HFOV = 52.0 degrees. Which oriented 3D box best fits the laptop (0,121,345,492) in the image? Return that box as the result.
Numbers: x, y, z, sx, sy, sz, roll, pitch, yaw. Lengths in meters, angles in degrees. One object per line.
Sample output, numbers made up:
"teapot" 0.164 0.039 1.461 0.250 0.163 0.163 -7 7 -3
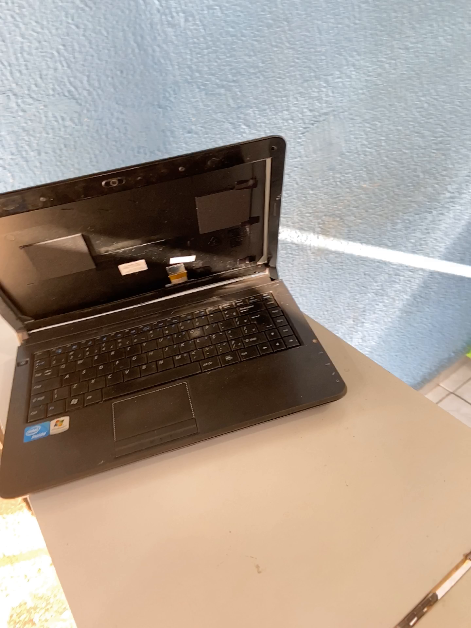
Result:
"laptop" -0.089 -0.022 0.477 0.330 0.206 0.207 -15 38 -7
